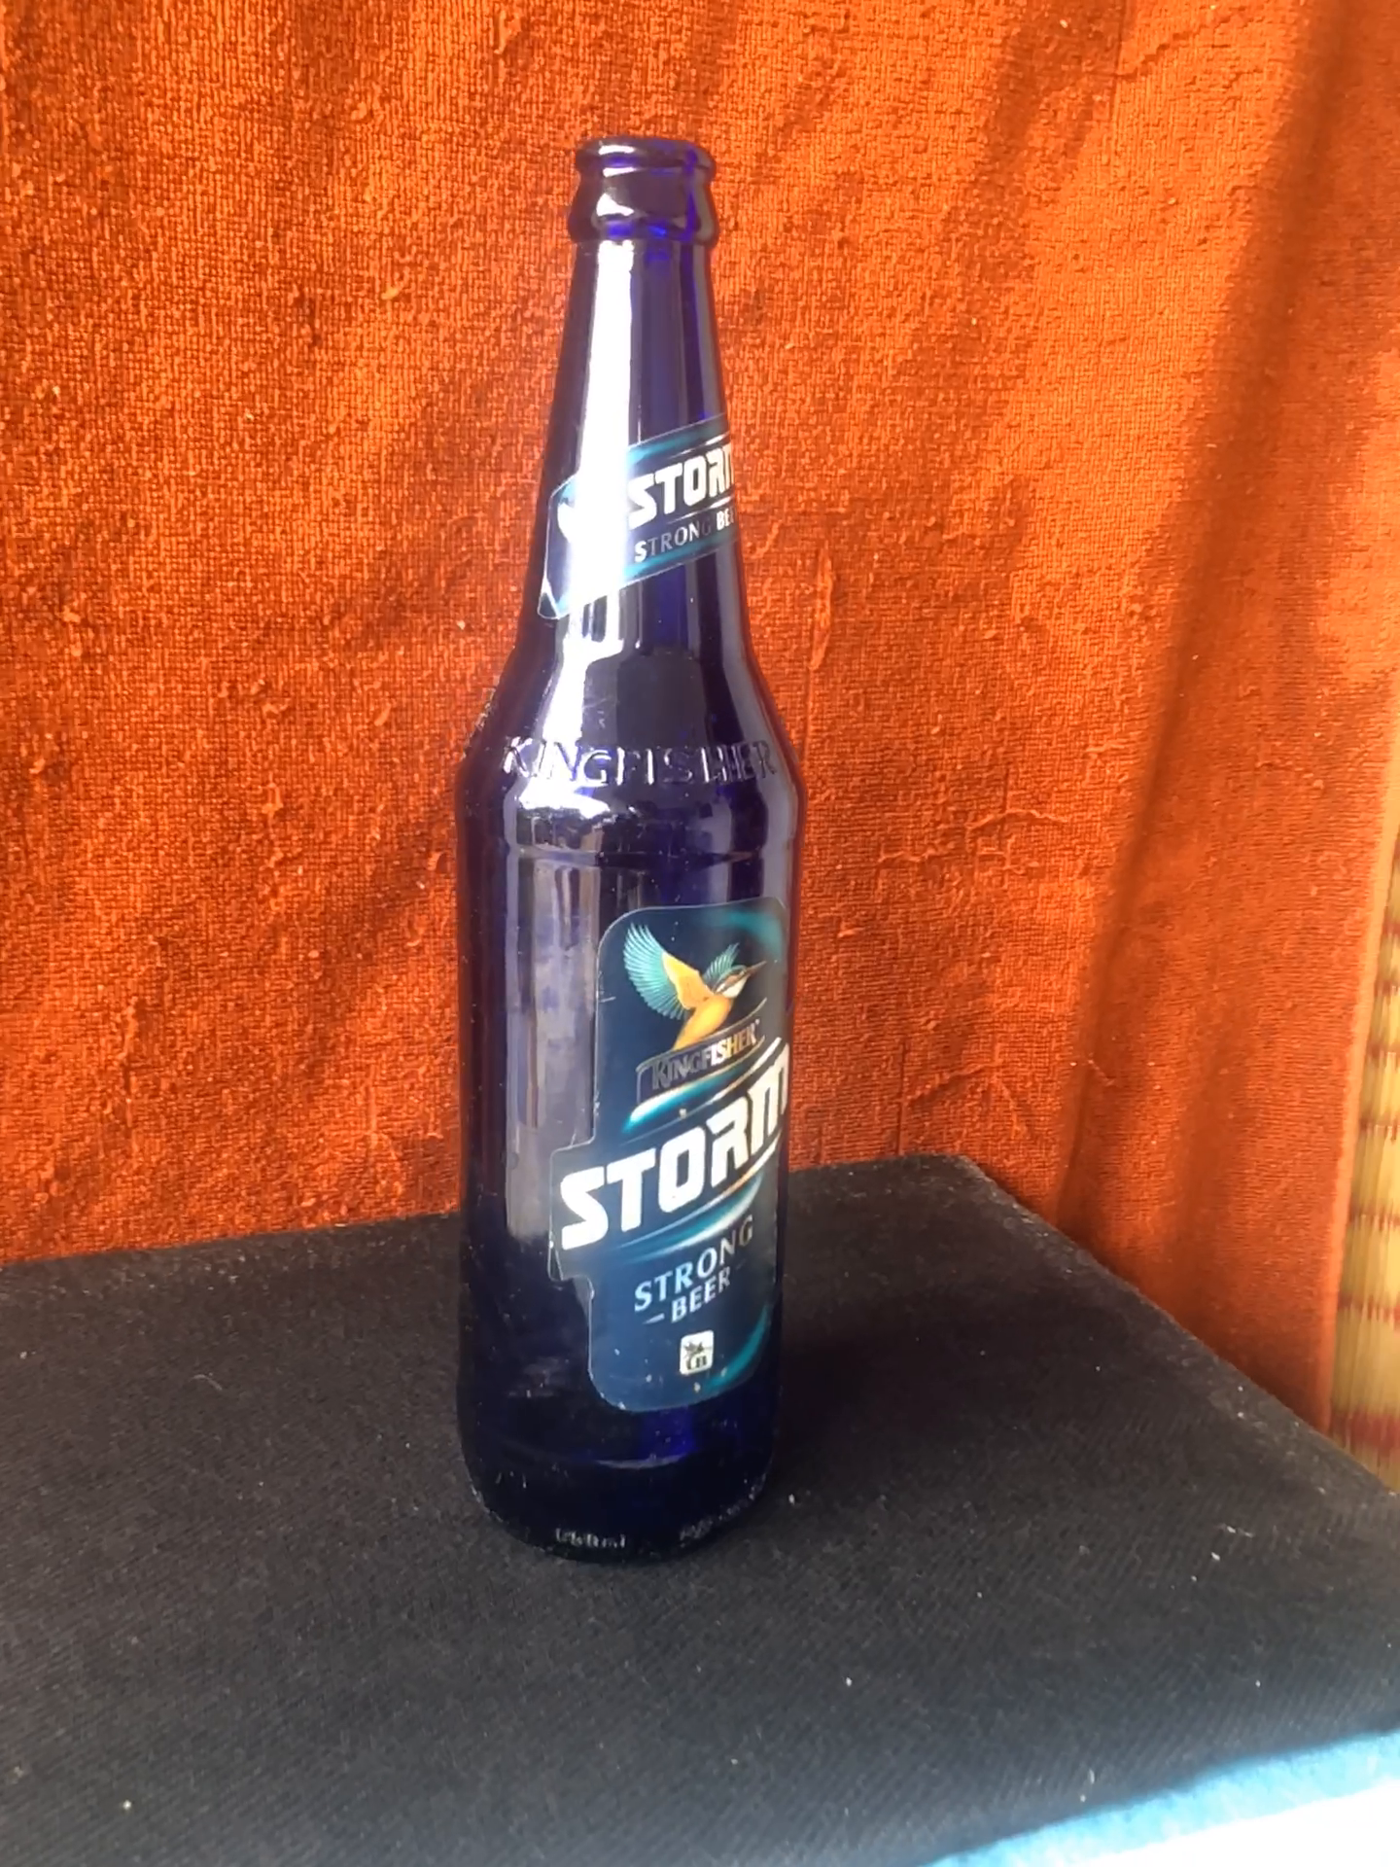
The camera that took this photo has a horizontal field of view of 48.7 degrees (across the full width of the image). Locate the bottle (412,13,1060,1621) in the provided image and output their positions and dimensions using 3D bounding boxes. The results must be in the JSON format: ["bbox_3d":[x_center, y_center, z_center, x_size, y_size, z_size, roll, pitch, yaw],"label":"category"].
[{"bbox_3d":[-0.003,-0.015,0.316,0.080,0.279,0.080,4,16,-1],"label":"bottle"}]
